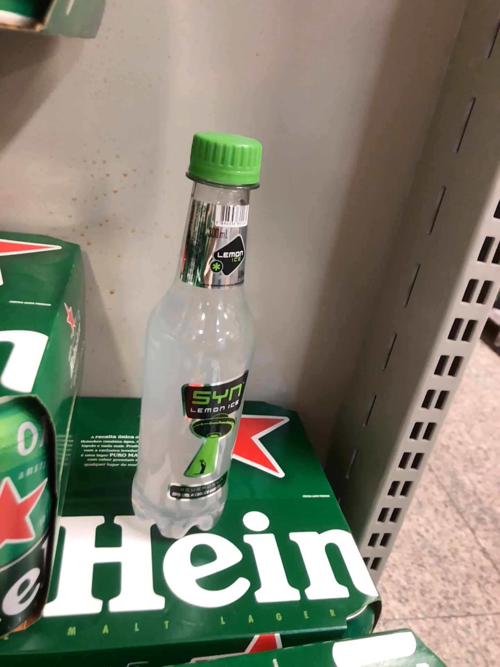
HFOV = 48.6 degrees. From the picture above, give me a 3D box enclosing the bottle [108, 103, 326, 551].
[{"bbox_3d":[-0.027,0.003,0.279,0.060,0.209,0.060,9,25,-4],"label":"bottle"}]
